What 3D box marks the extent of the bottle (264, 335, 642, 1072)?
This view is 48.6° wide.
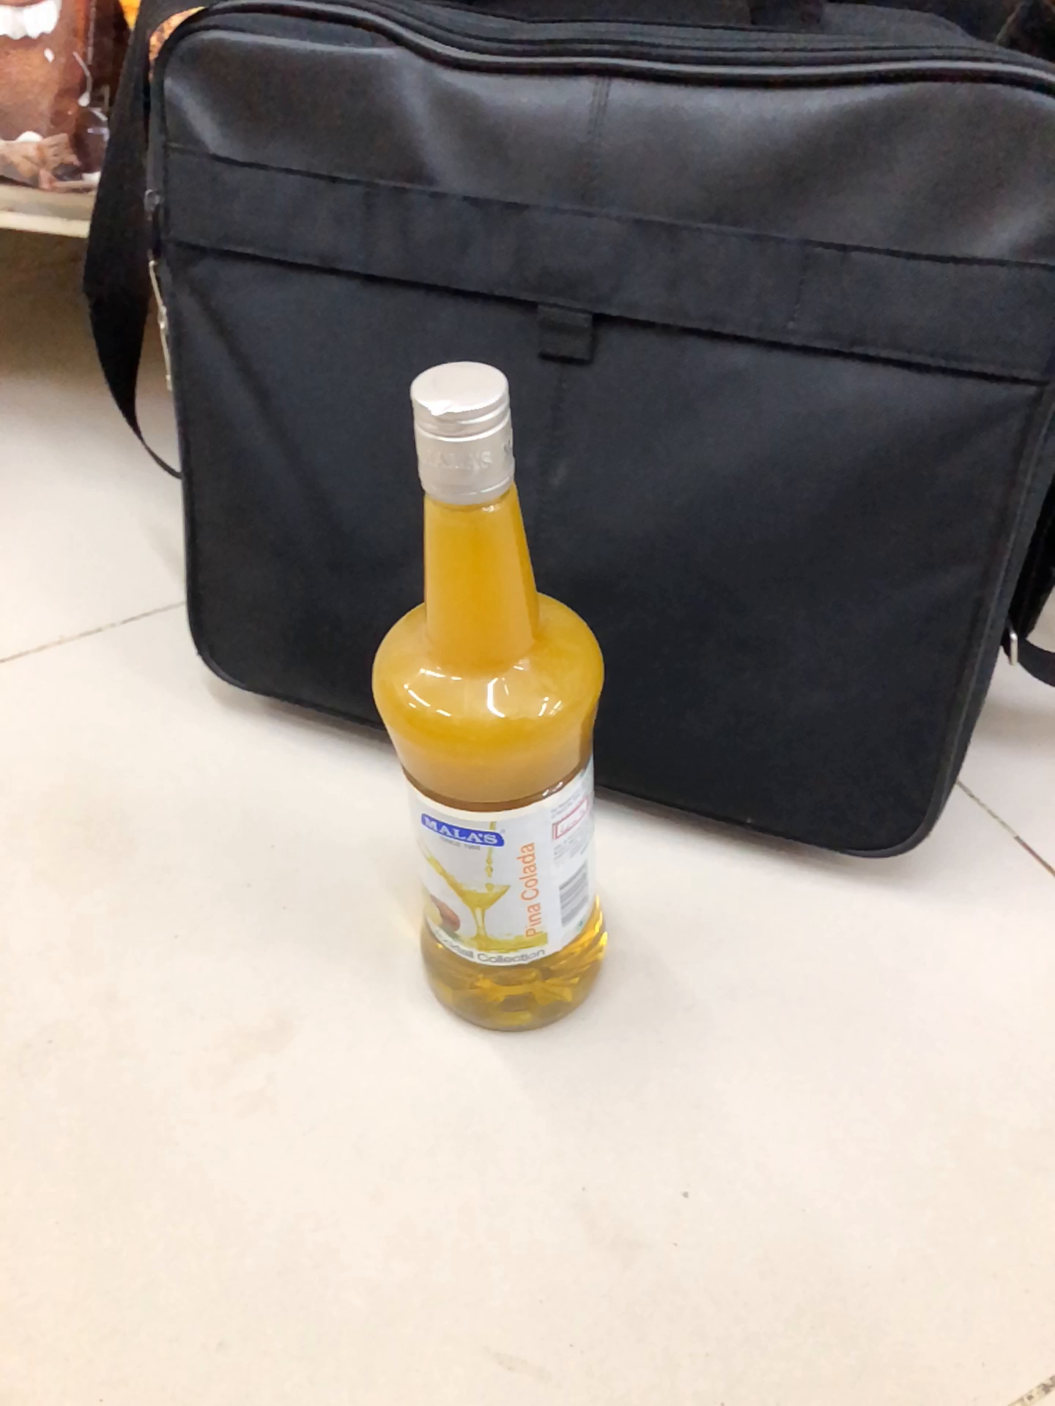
[{"bbox_3d":[-0.013,0.019,0.440,0.090,0.288,0.081,9,44,13],"label":"bottle"}]
